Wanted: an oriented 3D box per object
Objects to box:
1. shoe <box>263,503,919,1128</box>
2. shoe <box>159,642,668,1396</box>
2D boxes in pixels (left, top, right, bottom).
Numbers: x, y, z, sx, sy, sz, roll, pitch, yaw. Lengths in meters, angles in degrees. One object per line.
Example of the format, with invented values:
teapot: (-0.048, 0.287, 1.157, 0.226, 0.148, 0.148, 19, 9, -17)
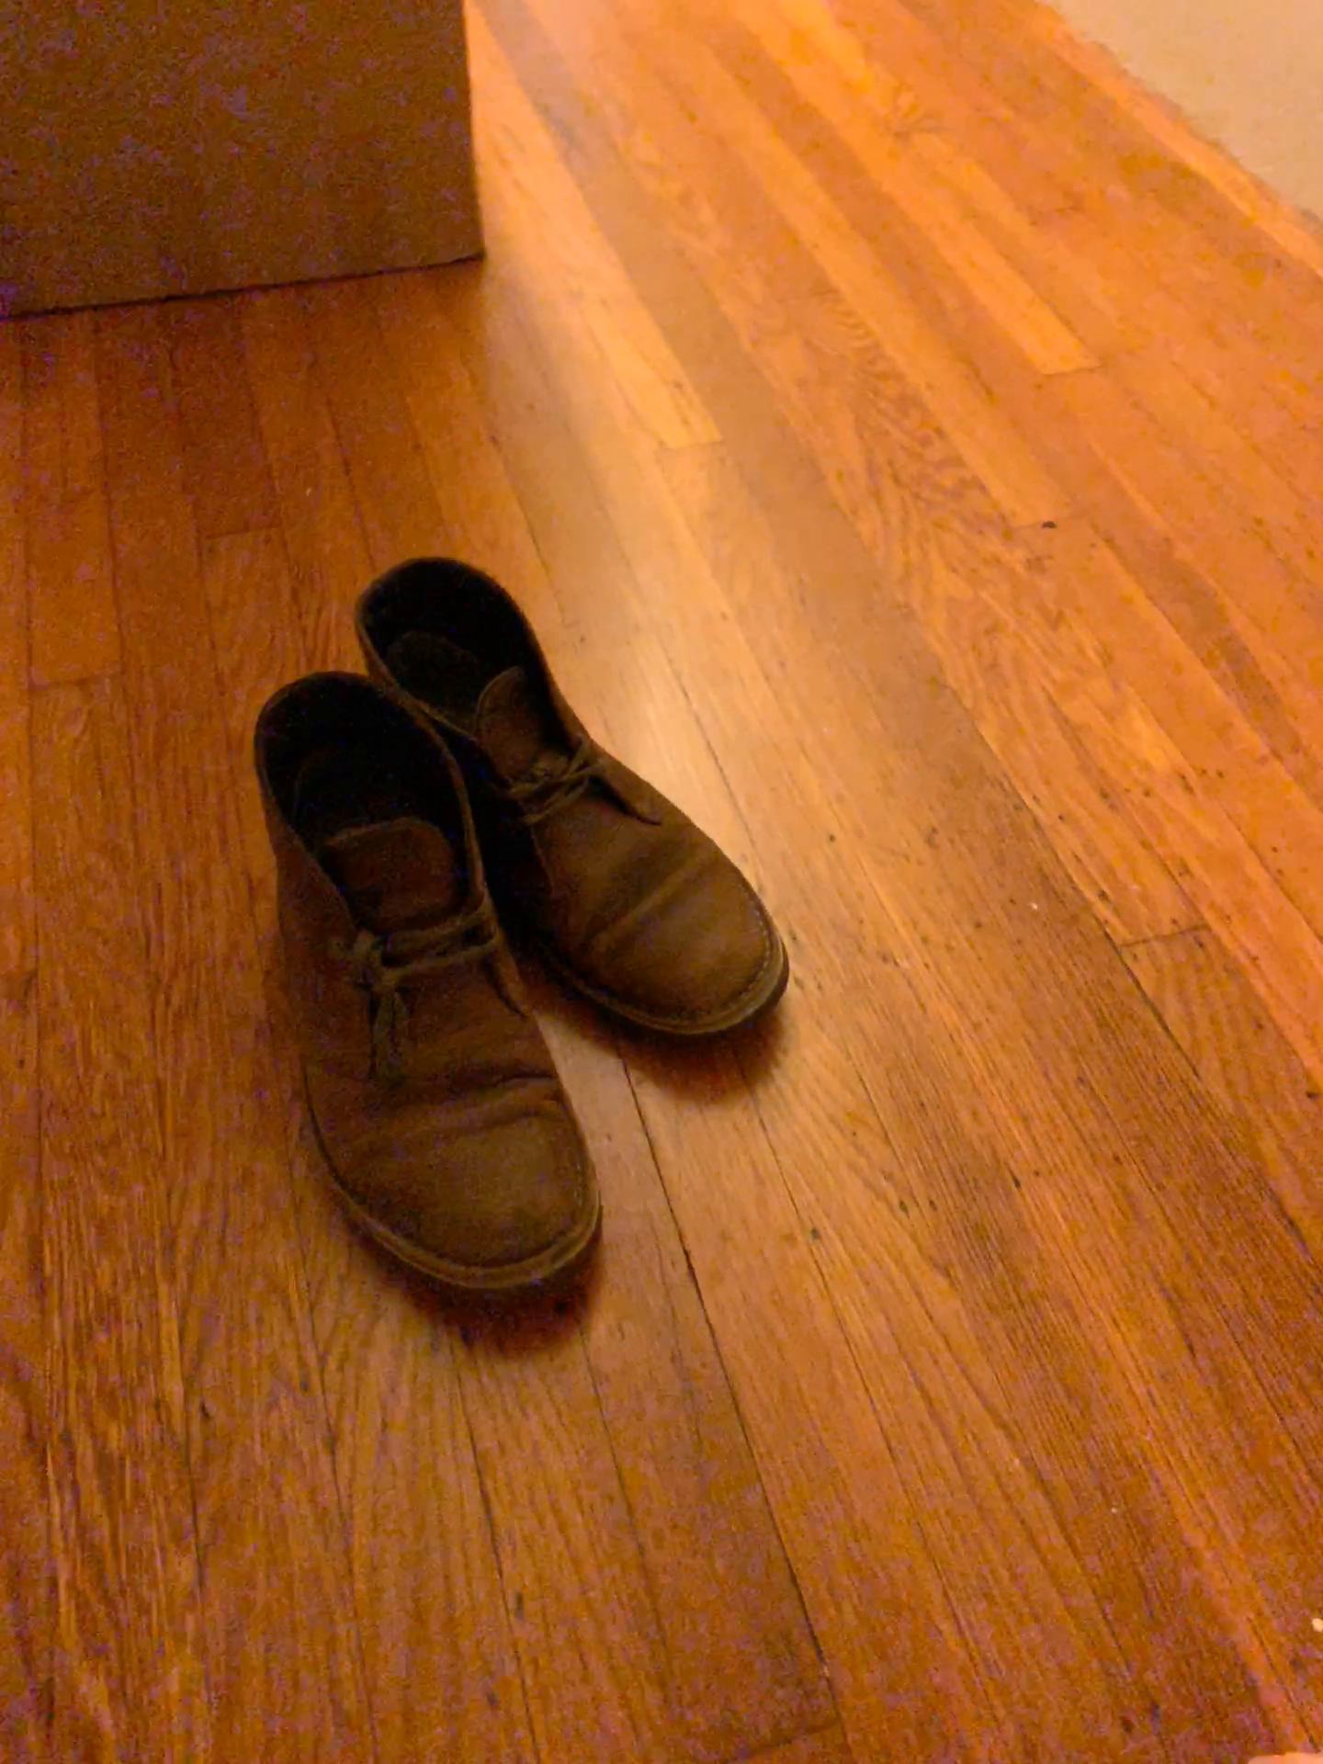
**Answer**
shoe: (-0.042, -0.043, 0.657, 0.301, 0.119, 0.120, 38, 59, 26)
shoe: (-0.114, 0.045, 0.595, 0.120, 0.119, 0.291, -19, 54, -16)
